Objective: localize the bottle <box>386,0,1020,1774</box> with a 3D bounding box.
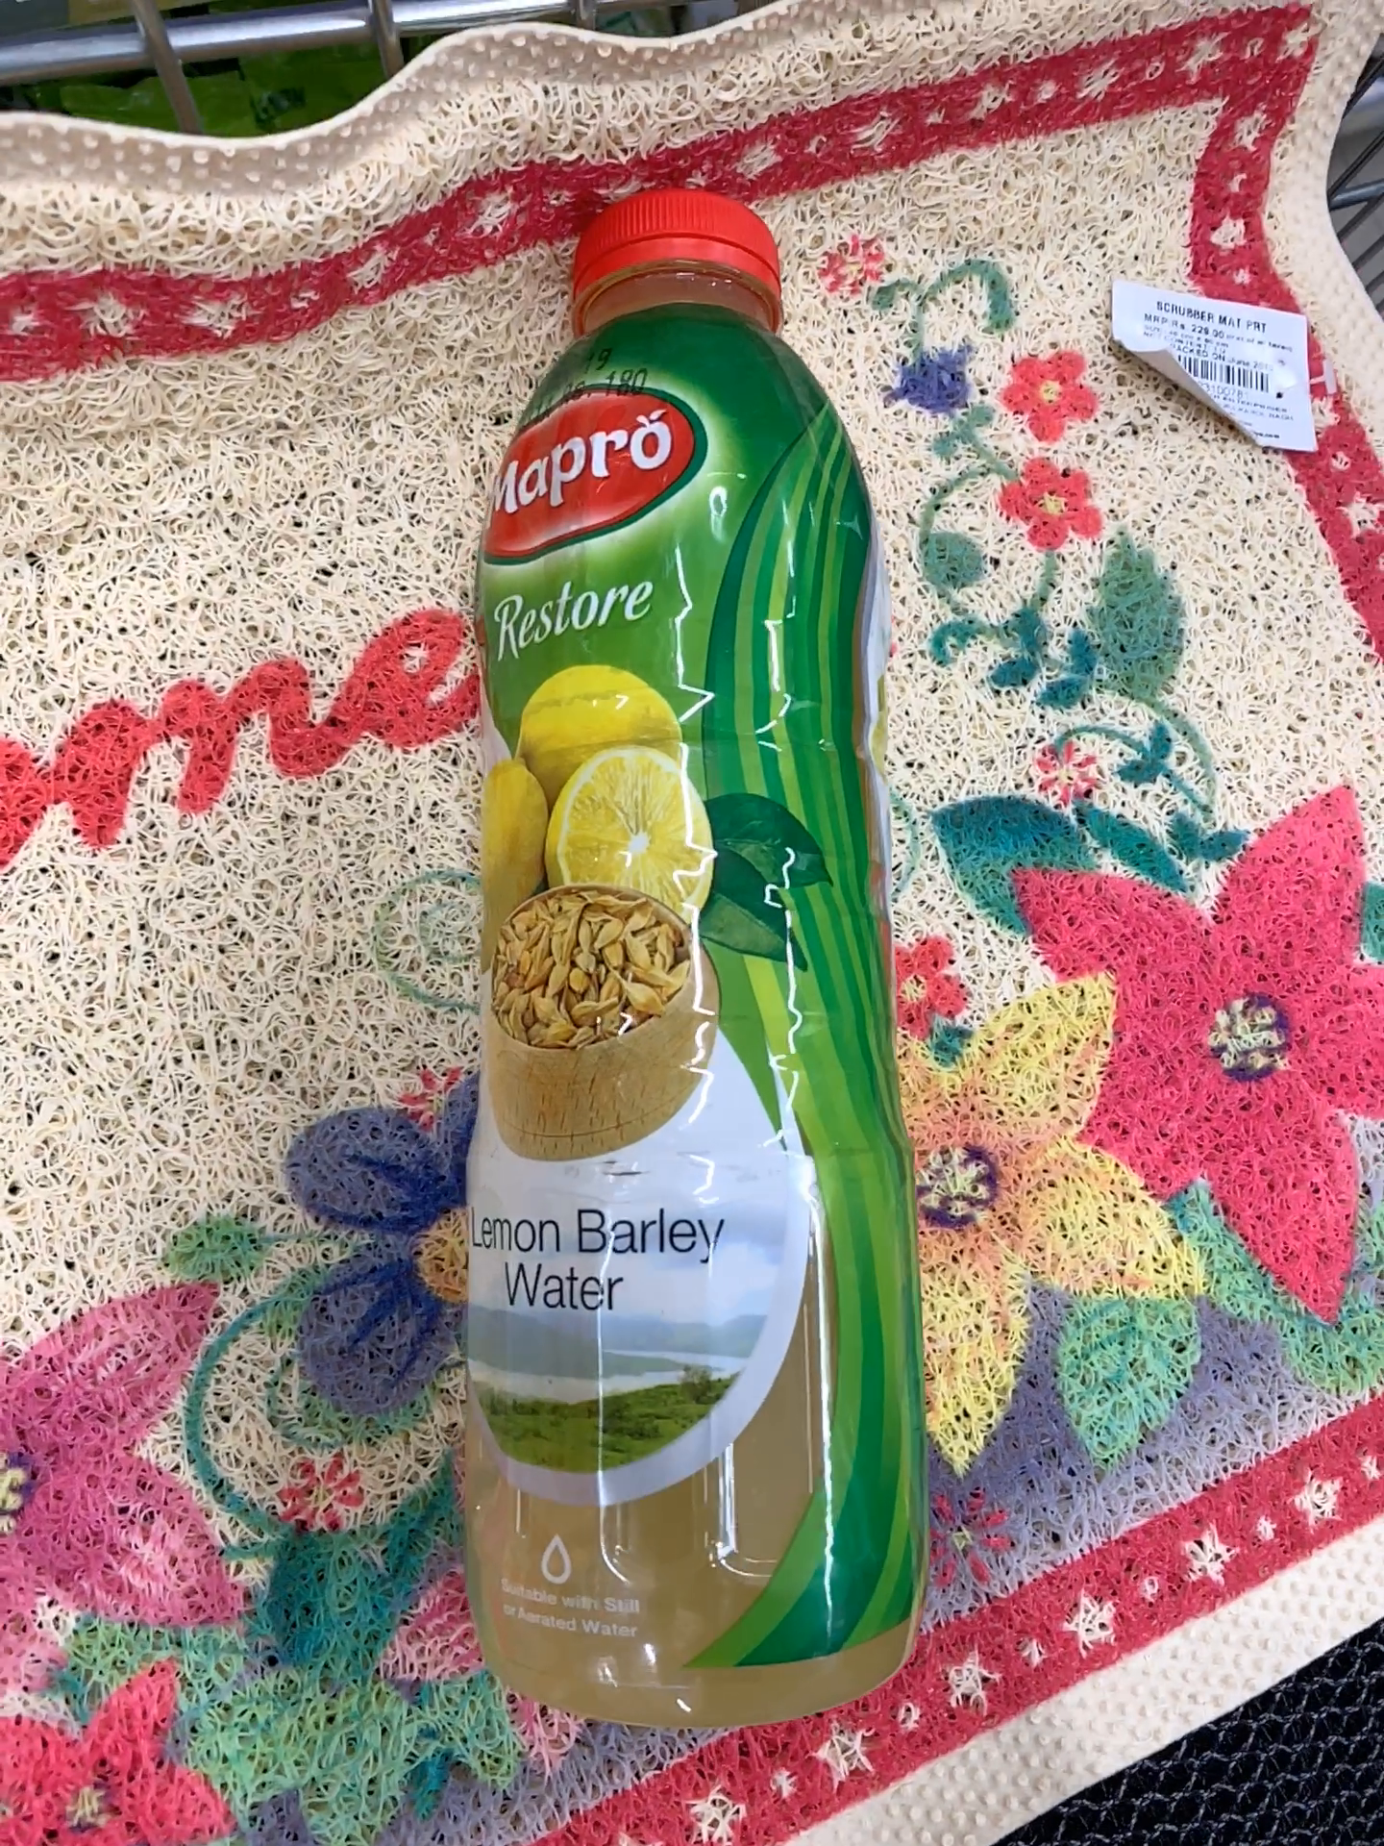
[{"bbox_3d":[0.003,-0.013,0.261,0.080,0.090,0.270,-6,79,19],"label":"bottle"}]
